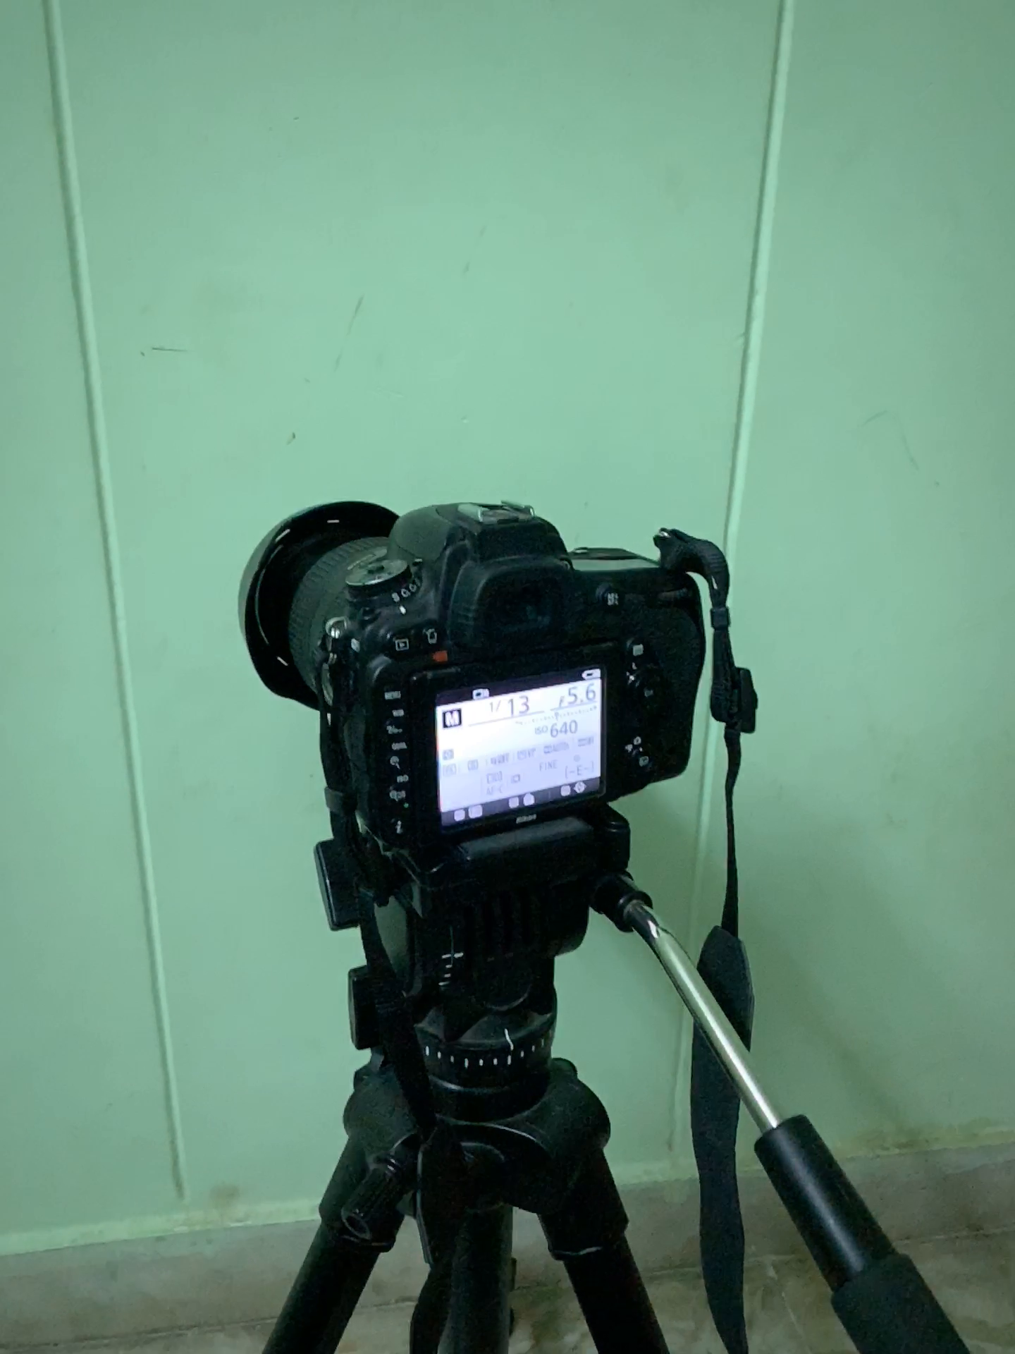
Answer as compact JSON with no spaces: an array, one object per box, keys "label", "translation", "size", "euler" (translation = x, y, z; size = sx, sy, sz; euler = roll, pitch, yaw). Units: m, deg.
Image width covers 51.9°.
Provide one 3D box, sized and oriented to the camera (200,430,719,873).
[{"label":"camera","translation":[-0.031,-0.029,0.435],"size":[0.140,0.117,0.183],"euler":[-10,23,-27]}]
